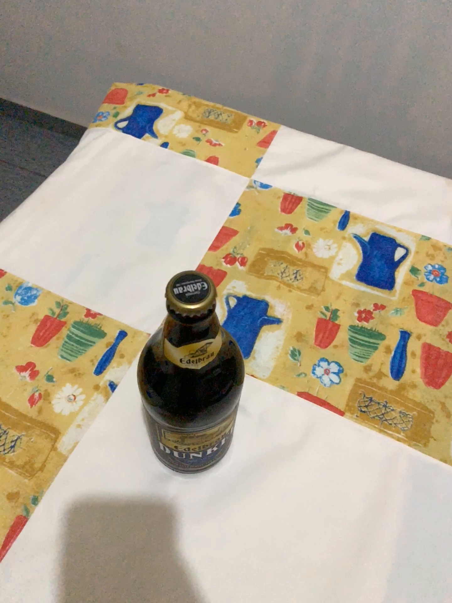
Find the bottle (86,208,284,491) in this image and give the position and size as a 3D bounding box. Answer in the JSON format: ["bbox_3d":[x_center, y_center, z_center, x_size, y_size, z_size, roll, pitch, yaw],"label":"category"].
[{"bbox_3d":[-0.029,0.051,0.320,0.080,0.219,0.080,2,55,-2],"label":"bottle"}]
